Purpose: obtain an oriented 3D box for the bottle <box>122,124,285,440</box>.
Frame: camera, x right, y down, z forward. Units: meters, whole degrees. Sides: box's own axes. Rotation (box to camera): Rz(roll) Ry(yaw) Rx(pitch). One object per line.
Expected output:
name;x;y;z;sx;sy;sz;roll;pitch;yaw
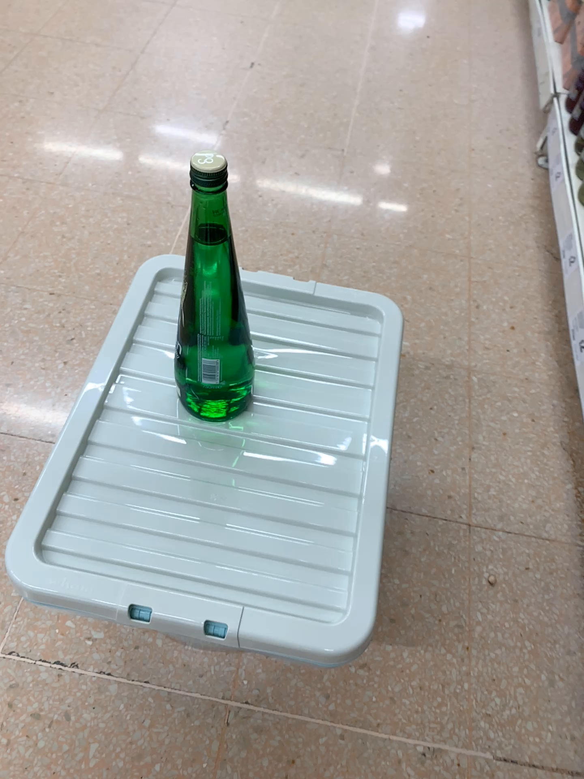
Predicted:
bottle;-0.074;-0.076;0.561;0.093;0.298;0.085;3;55;-4
